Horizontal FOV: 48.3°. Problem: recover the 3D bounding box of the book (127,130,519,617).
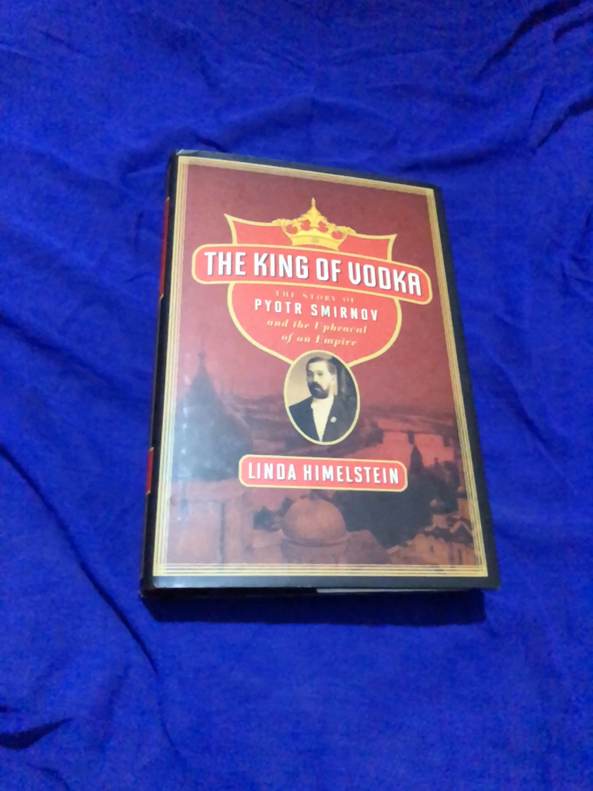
[{"bbox_3d":[0.005,-0.019,0.353,0.170,0.050,0.250,2,65,-12],"label":"book"}]
